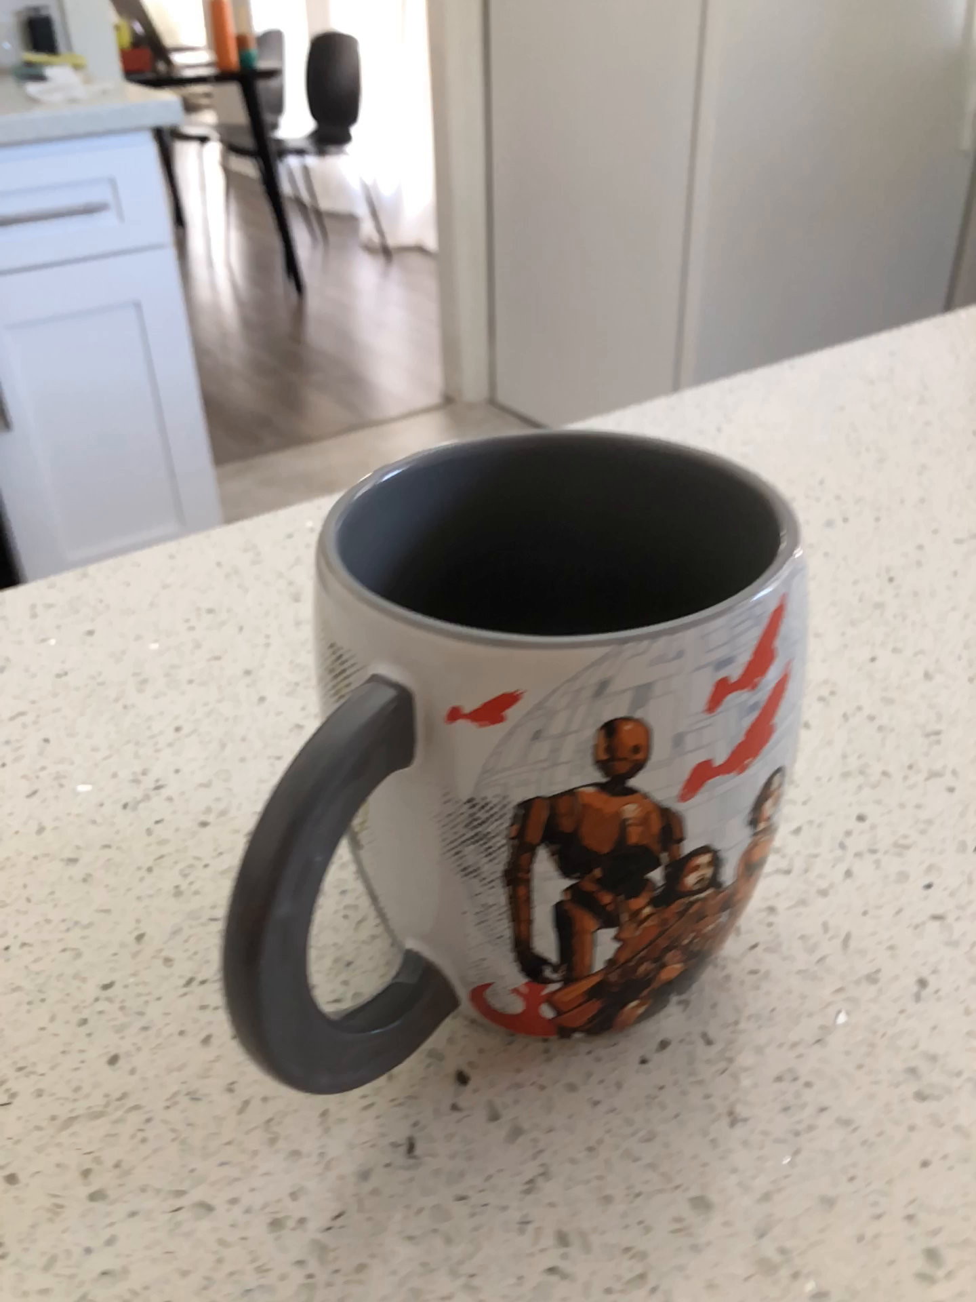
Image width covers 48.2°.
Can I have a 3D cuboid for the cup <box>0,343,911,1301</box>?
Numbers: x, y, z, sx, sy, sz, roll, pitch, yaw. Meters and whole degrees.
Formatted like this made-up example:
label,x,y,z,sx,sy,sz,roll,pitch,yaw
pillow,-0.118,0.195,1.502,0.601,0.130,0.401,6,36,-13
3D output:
label,x,y,z,sx,sy,sz,roll,pitch,yaw
cup,0.003,0.014,0.218,0.100,0.100,0.140,20,38,30
